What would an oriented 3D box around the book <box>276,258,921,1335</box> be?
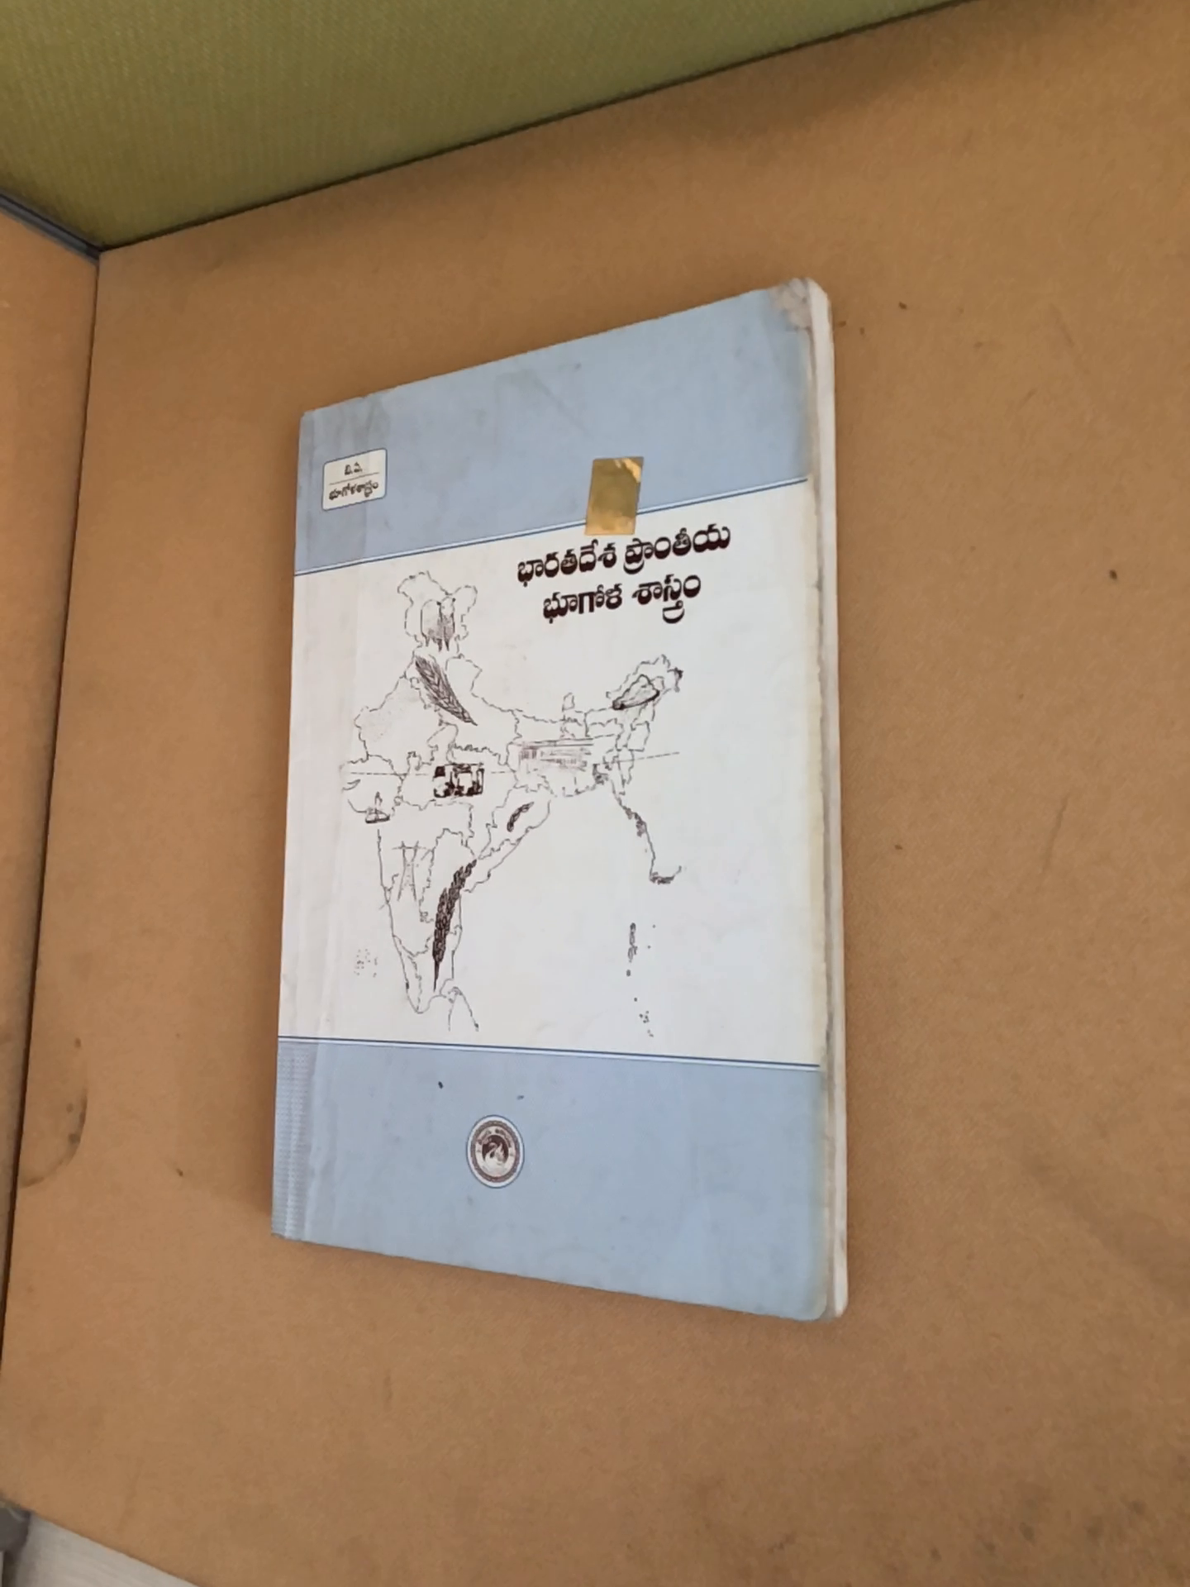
[{"bbox_3d":[-0.006,0.000,0.362,0.180,0.030,0.250,-3,82,31],"label":"book"}]
